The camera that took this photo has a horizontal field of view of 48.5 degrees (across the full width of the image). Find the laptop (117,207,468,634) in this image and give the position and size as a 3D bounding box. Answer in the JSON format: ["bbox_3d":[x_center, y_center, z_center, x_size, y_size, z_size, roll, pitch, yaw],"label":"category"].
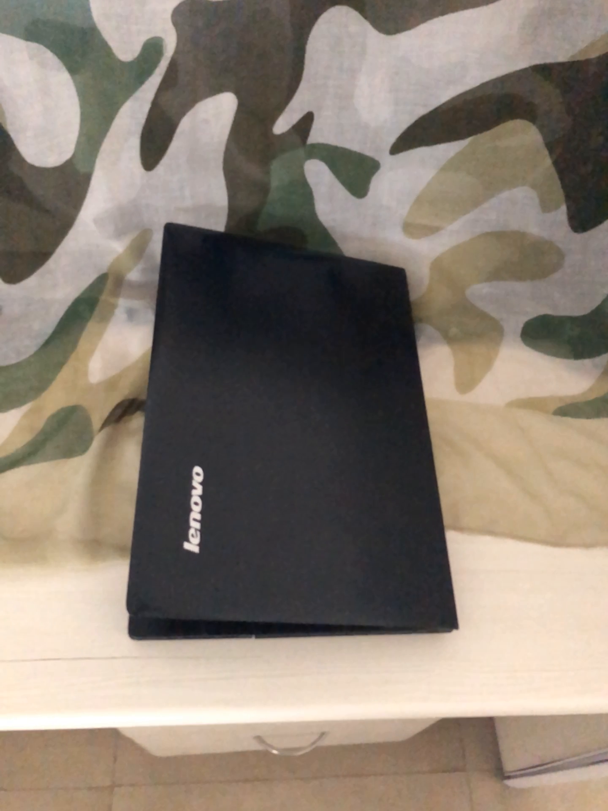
[{"bbox_3d":[-0.008,-0.006,0.599,0.249,0.059,0.387,3,59,-7],"label":"laptop"}]
